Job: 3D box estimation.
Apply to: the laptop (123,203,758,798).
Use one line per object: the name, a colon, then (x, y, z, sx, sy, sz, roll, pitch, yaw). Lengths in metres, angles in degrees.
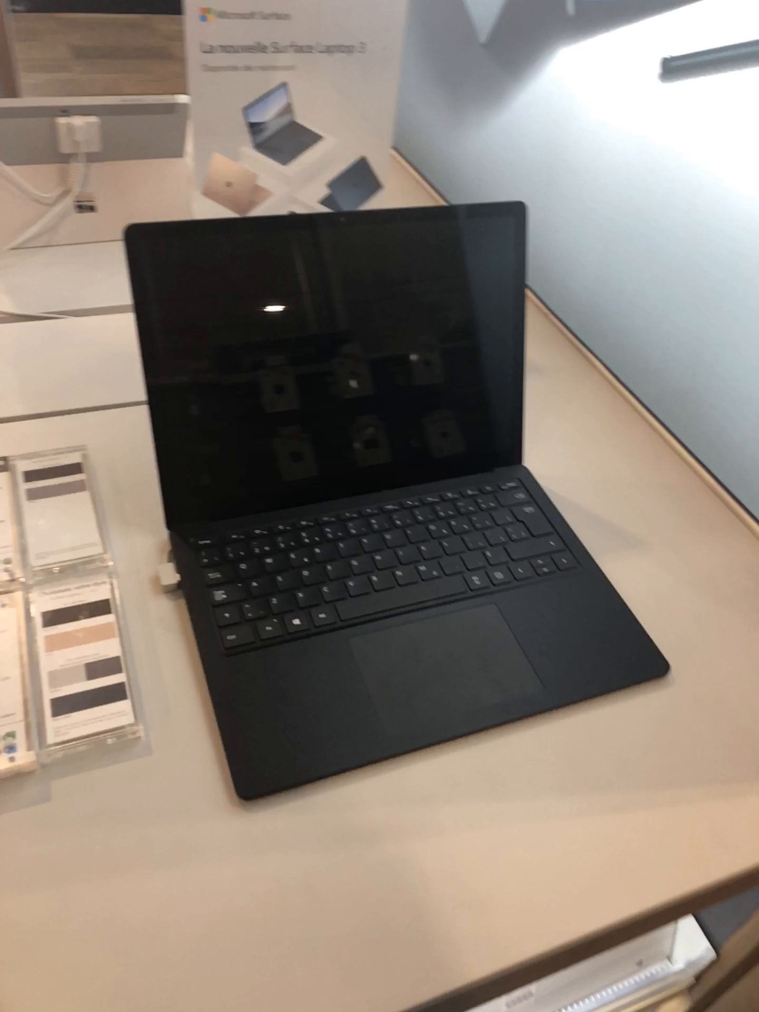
laptop: (0.018, -0.036, 0.566, 0.308, 0.197, 0.314, -10, 45, -20)
